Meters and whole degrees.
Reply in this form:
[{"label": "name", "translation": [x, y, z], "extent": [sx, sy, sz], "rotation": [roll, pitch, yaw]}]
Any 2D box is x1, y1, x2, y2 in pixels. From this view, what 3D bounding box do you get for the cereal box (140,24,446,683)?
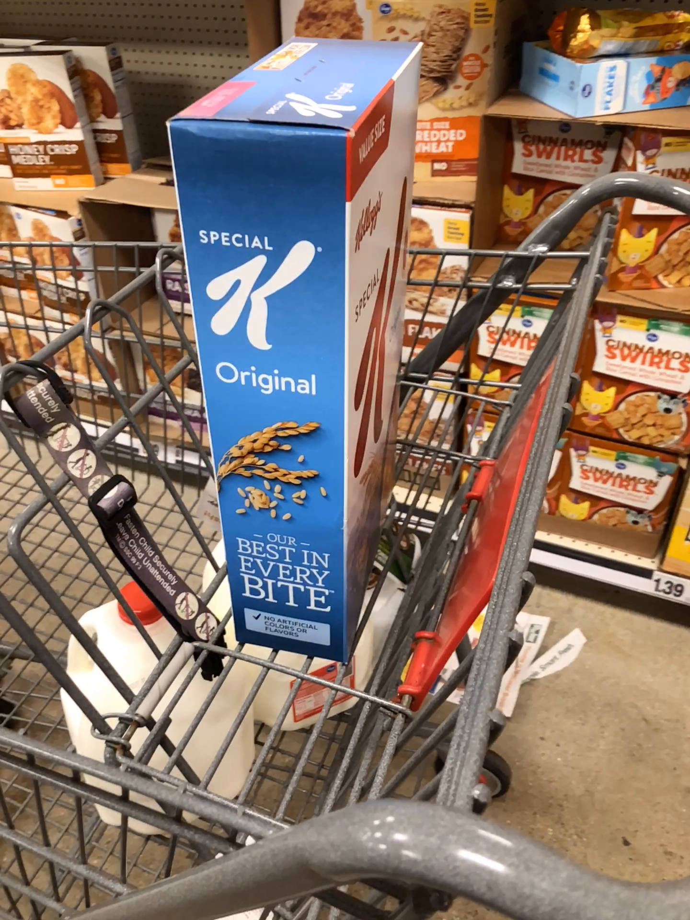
[{"label": "cereal box", "translation": [-0.009, -0.063, 0.476], "extent": [0.080, 0.329, 0.231], "rotation": [10, 40, 12]}]
